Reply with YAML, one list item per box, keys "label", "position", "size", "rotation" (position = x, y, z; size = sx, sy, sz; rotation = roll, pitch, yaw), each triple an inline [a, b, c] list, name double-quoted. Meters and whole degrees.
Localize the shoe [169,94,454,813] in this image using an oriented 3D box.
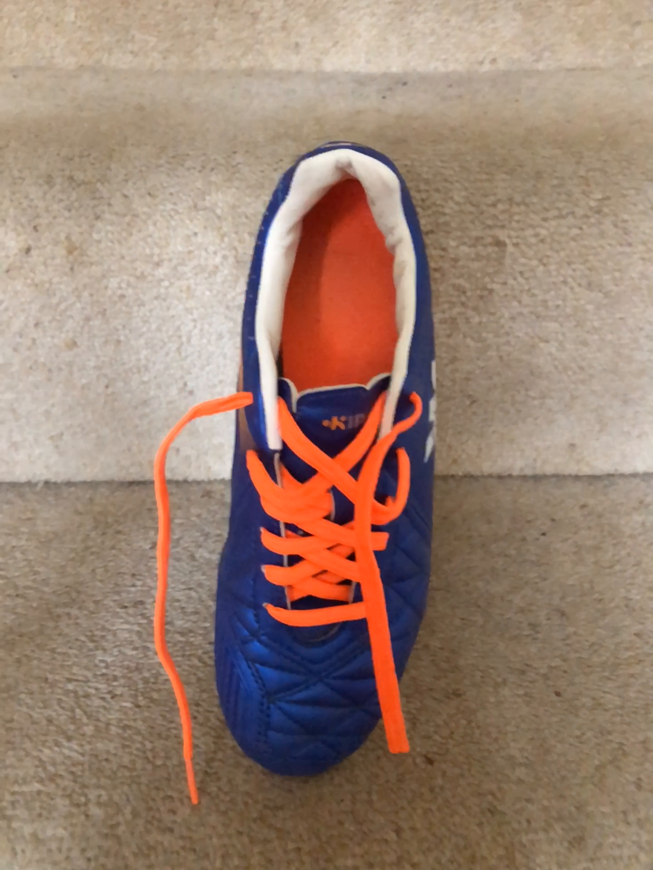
- label: "shoe"
  position: [-0.005, 0.005, 0.266]
  size: [0.070, 0.210, 0.100]
  rotation: [4, -3, -2]
